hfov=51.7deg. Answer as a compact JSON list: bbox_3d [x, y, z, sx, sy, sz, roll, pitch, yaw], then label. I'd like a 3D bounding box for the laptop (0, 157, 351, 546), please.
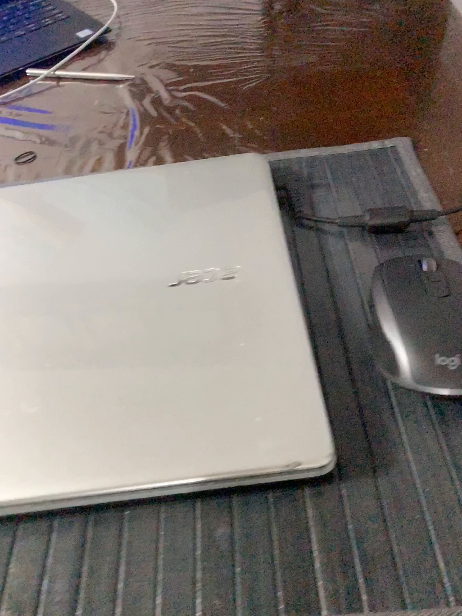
[{"bbox_3d":[-0.124,-0.002,0.280,0.335,0.002,0.224,-7,52,0],"label":"laptop"}]
